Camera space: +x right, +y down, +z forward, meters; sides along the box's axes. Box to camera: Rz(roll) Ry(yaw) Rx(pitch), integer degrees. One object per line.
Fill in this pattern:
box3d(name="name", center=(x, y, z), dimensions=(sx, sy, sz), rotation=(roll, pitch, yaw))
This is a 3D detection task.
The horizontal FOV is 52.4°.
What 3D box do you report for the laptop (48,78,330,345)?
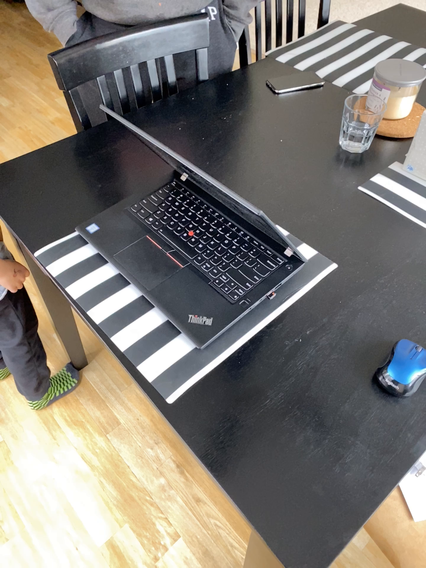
box3d(name="laptop", center=(-0.042, -0.125, 0.641), dimensions=(0.220, 0.175, 0.321), rotation=(-35, 59, -25))
